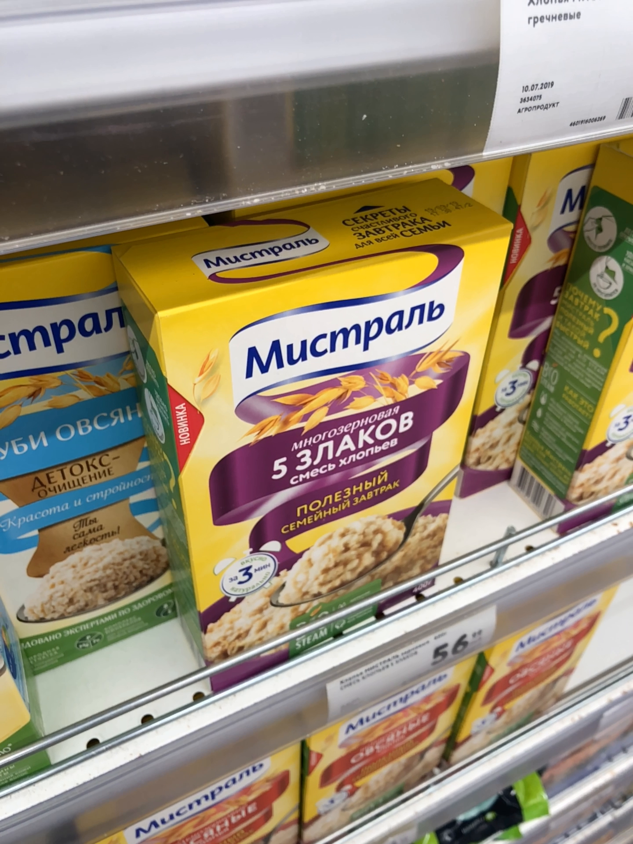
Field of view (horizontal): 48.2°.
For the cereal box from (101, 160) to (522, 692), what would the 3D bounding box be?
[{"bbox_3d":[-0.001,0.012,0.301,0.130,0.209,0.050,-19,45,-22],"label":"cereal box"}]
